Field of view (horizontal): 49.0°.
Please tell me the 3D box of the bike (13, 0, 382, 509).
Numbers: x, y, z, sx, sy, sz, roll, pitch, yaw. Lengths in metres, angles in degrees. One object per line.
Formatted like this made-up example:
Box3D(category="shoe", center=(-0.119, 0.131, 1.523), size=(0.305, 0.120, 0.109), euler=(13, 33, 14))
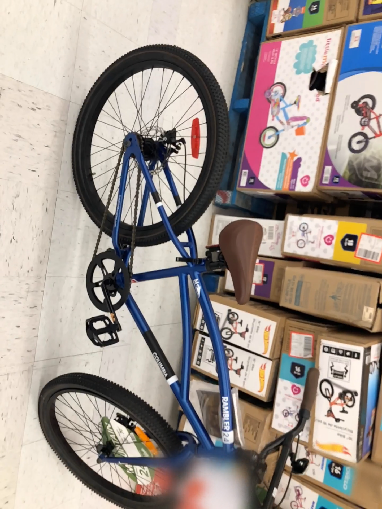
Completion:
Box3D(category="bike", center=(-0.002, 0.178, 1.301), size=(0.653, 0.928, 1.551), euler=(-6, 104, -50))
